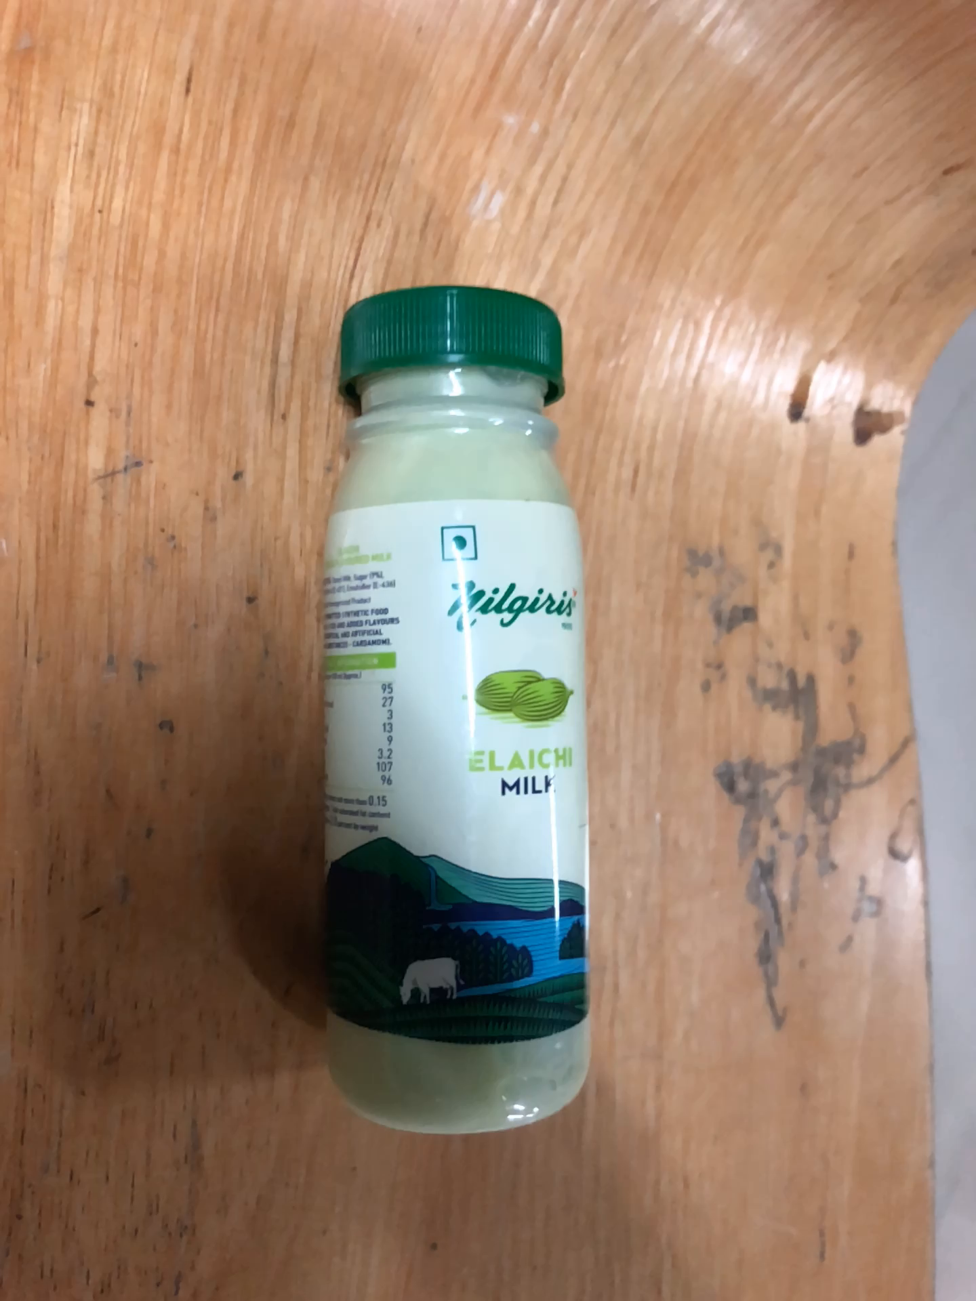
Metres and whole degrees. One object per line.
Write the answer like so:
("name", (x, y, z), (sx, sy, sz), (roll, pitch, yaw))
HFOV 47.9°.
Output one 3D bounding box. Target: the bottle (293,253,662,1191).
("bottle", (-0.002, 0.011, 0.195), (0.050, 0.040, 0.140), (2, 88, -38))
